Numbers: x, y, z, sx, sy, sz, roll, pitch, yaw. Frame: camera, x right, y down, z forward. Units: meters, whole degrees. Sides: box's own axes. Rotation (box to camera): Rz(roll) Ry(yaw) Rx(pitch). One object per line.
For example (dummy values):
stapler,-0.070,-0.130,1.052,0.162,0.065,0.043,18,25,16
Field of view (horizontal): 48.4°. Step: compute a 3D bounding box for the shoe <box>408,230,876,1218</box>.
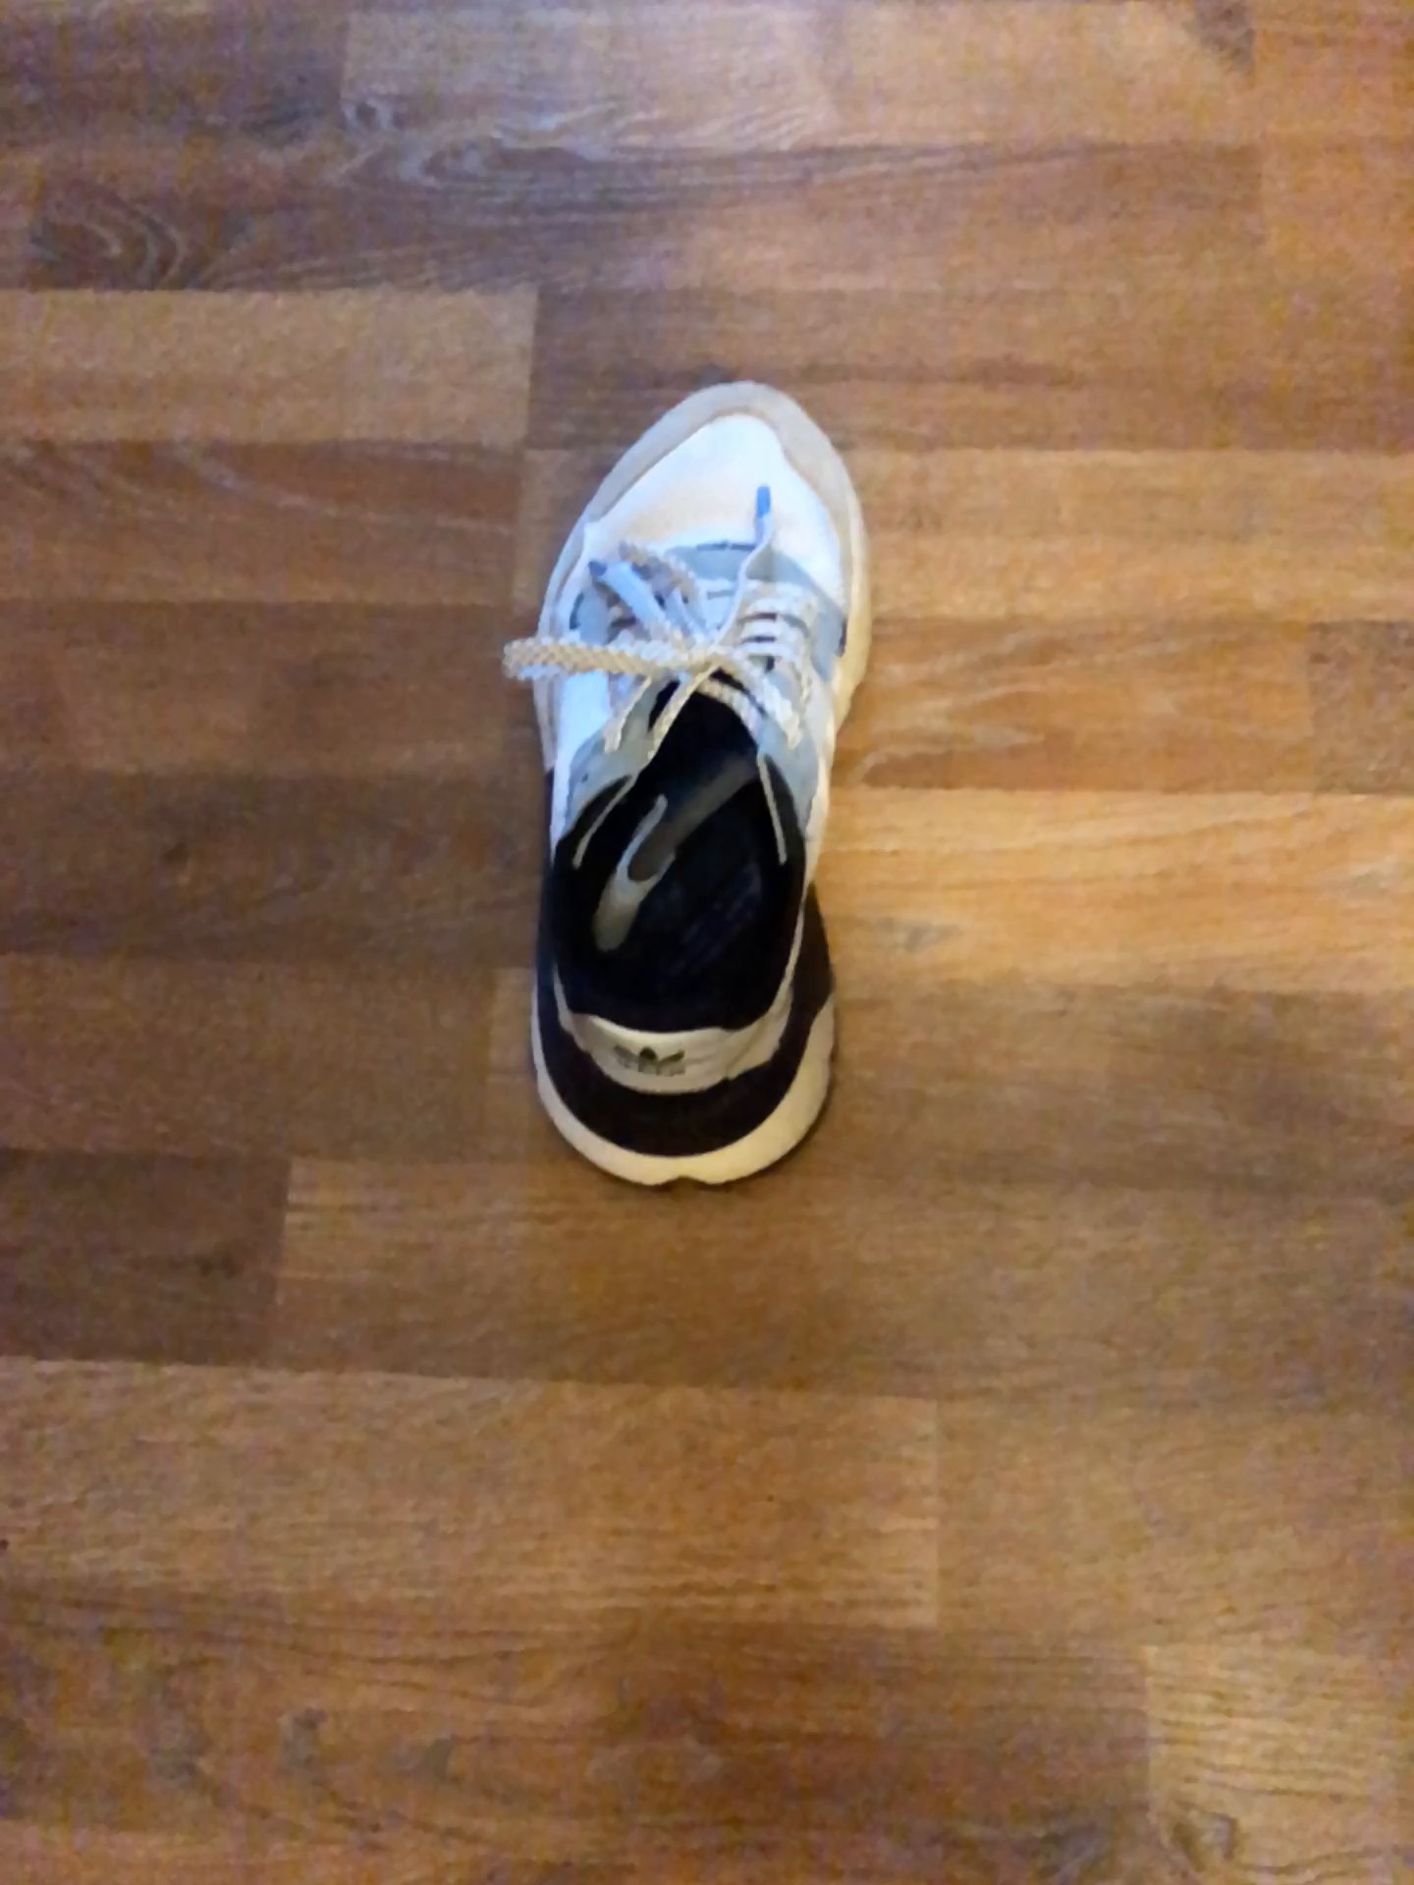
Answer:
shoe,-0.009,-0.061,0.471,0.113,0.110,0.271,1,74,3
